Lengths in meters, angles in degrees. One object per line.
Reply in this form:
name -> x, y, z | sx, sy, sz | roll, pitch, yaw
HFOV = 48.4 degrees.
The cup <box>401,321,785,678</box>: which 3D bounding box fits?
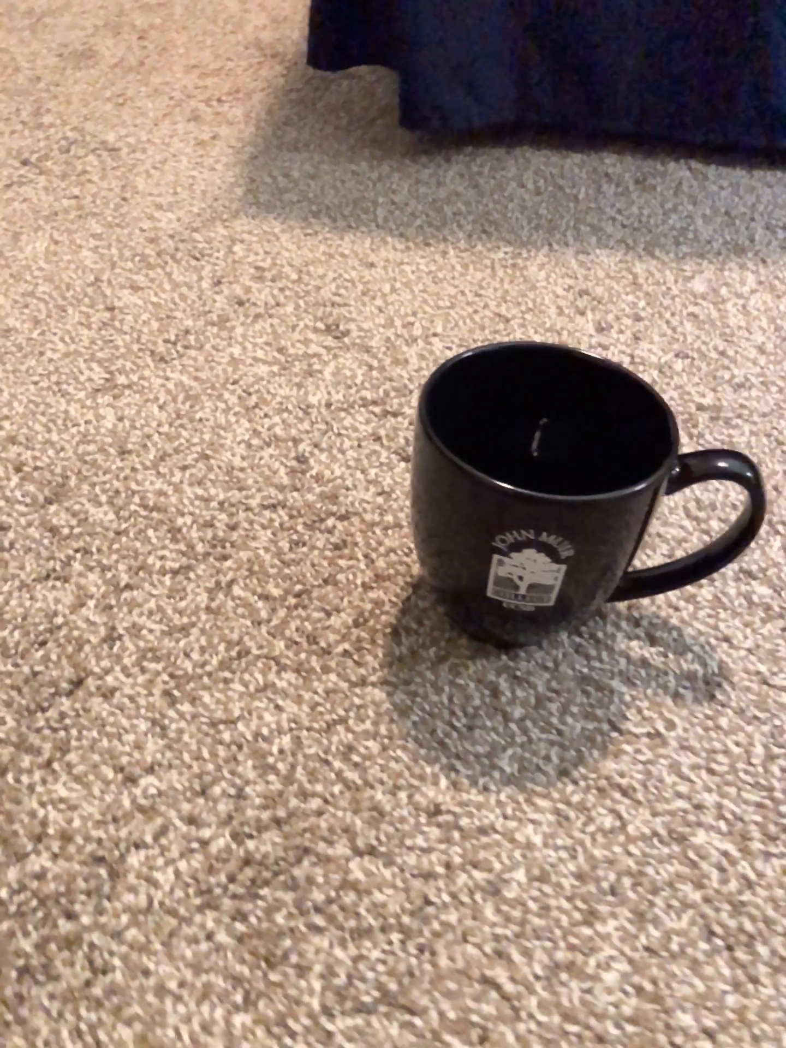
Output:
cup -> 0.077, -0.010, 0.331 | 0.140, 0.090, 0.090 | 3, 45, 3
